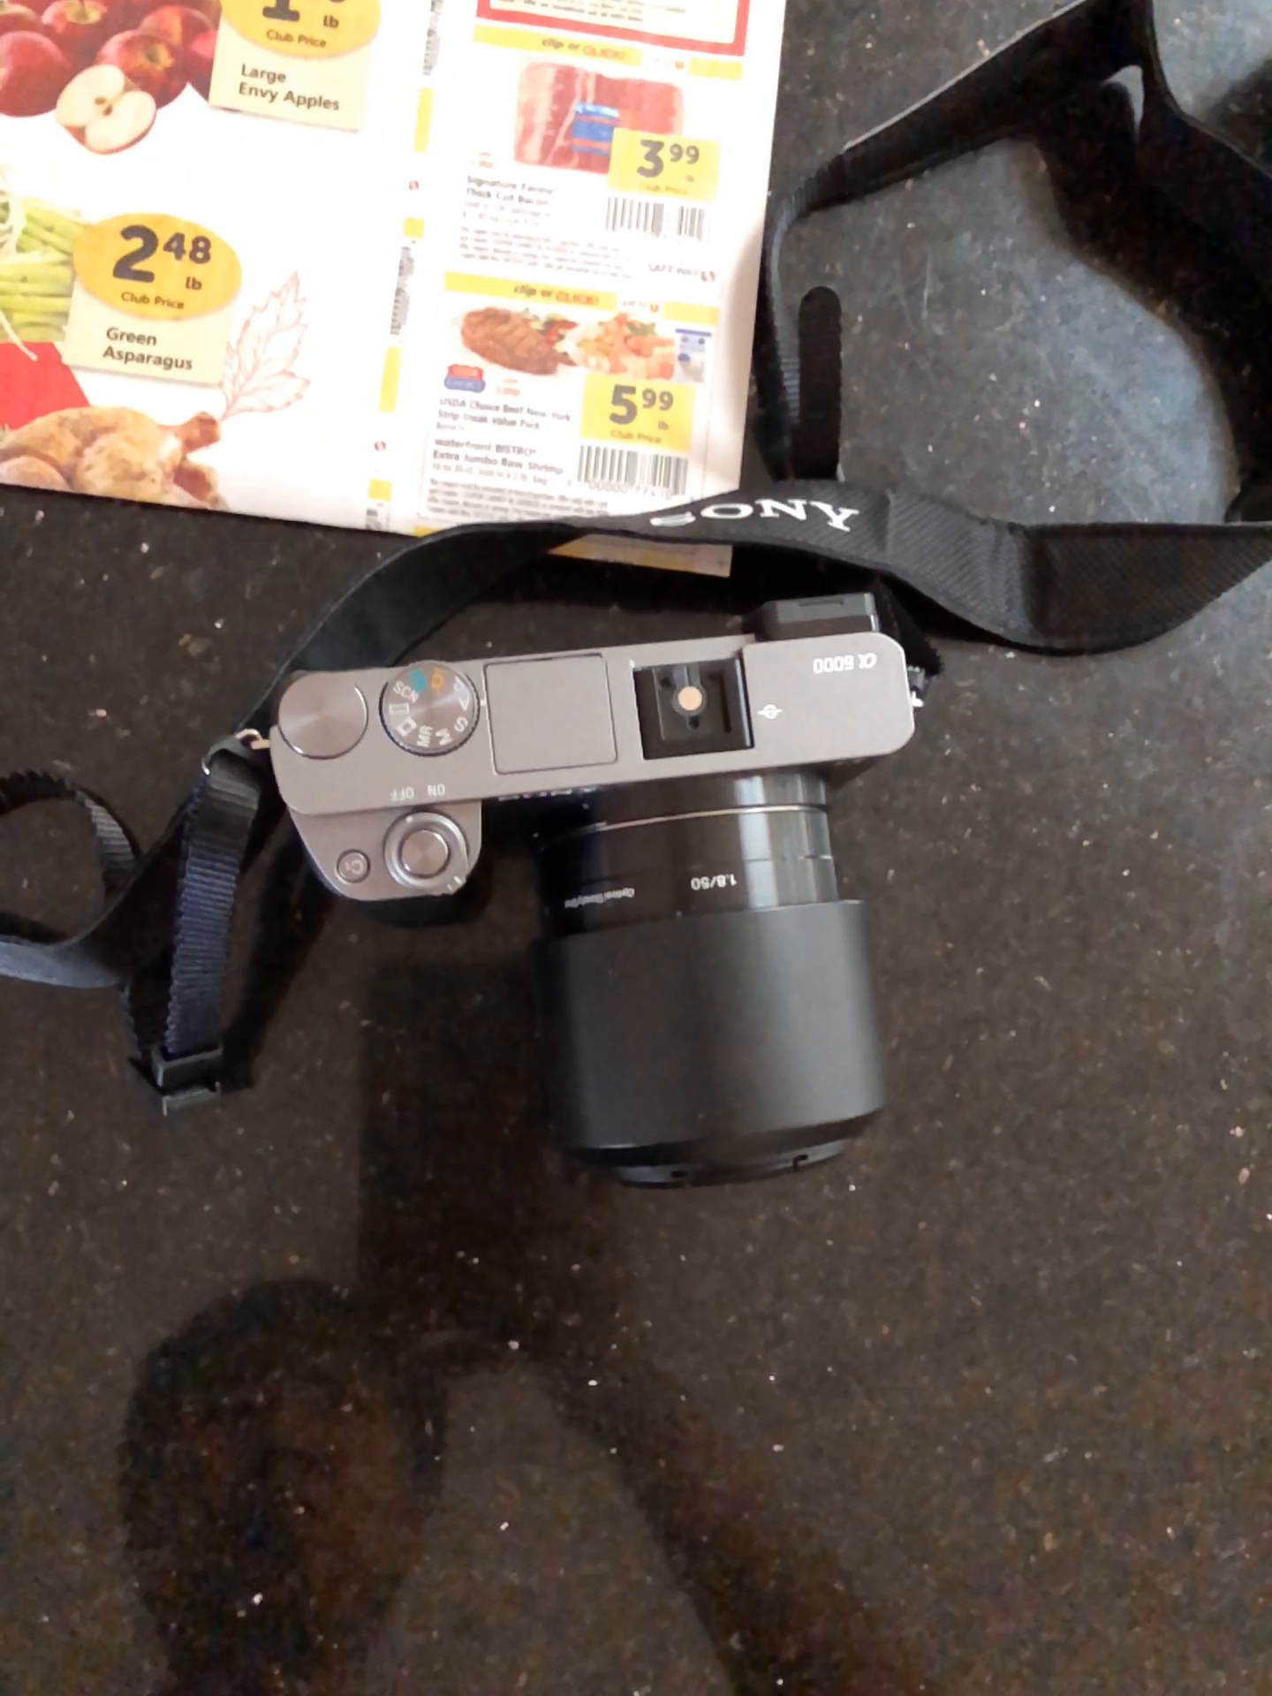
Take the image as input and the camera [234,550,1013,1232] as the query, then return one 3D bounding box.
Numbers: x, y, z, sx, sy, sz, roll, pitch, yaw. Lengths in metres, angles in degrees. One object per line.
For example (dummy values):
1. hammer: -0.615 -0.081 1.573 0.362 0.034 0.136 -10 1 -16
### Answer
1. camera: -0.005 0.008 0.292 0.130 0.070 0.110 -7 85 -6
